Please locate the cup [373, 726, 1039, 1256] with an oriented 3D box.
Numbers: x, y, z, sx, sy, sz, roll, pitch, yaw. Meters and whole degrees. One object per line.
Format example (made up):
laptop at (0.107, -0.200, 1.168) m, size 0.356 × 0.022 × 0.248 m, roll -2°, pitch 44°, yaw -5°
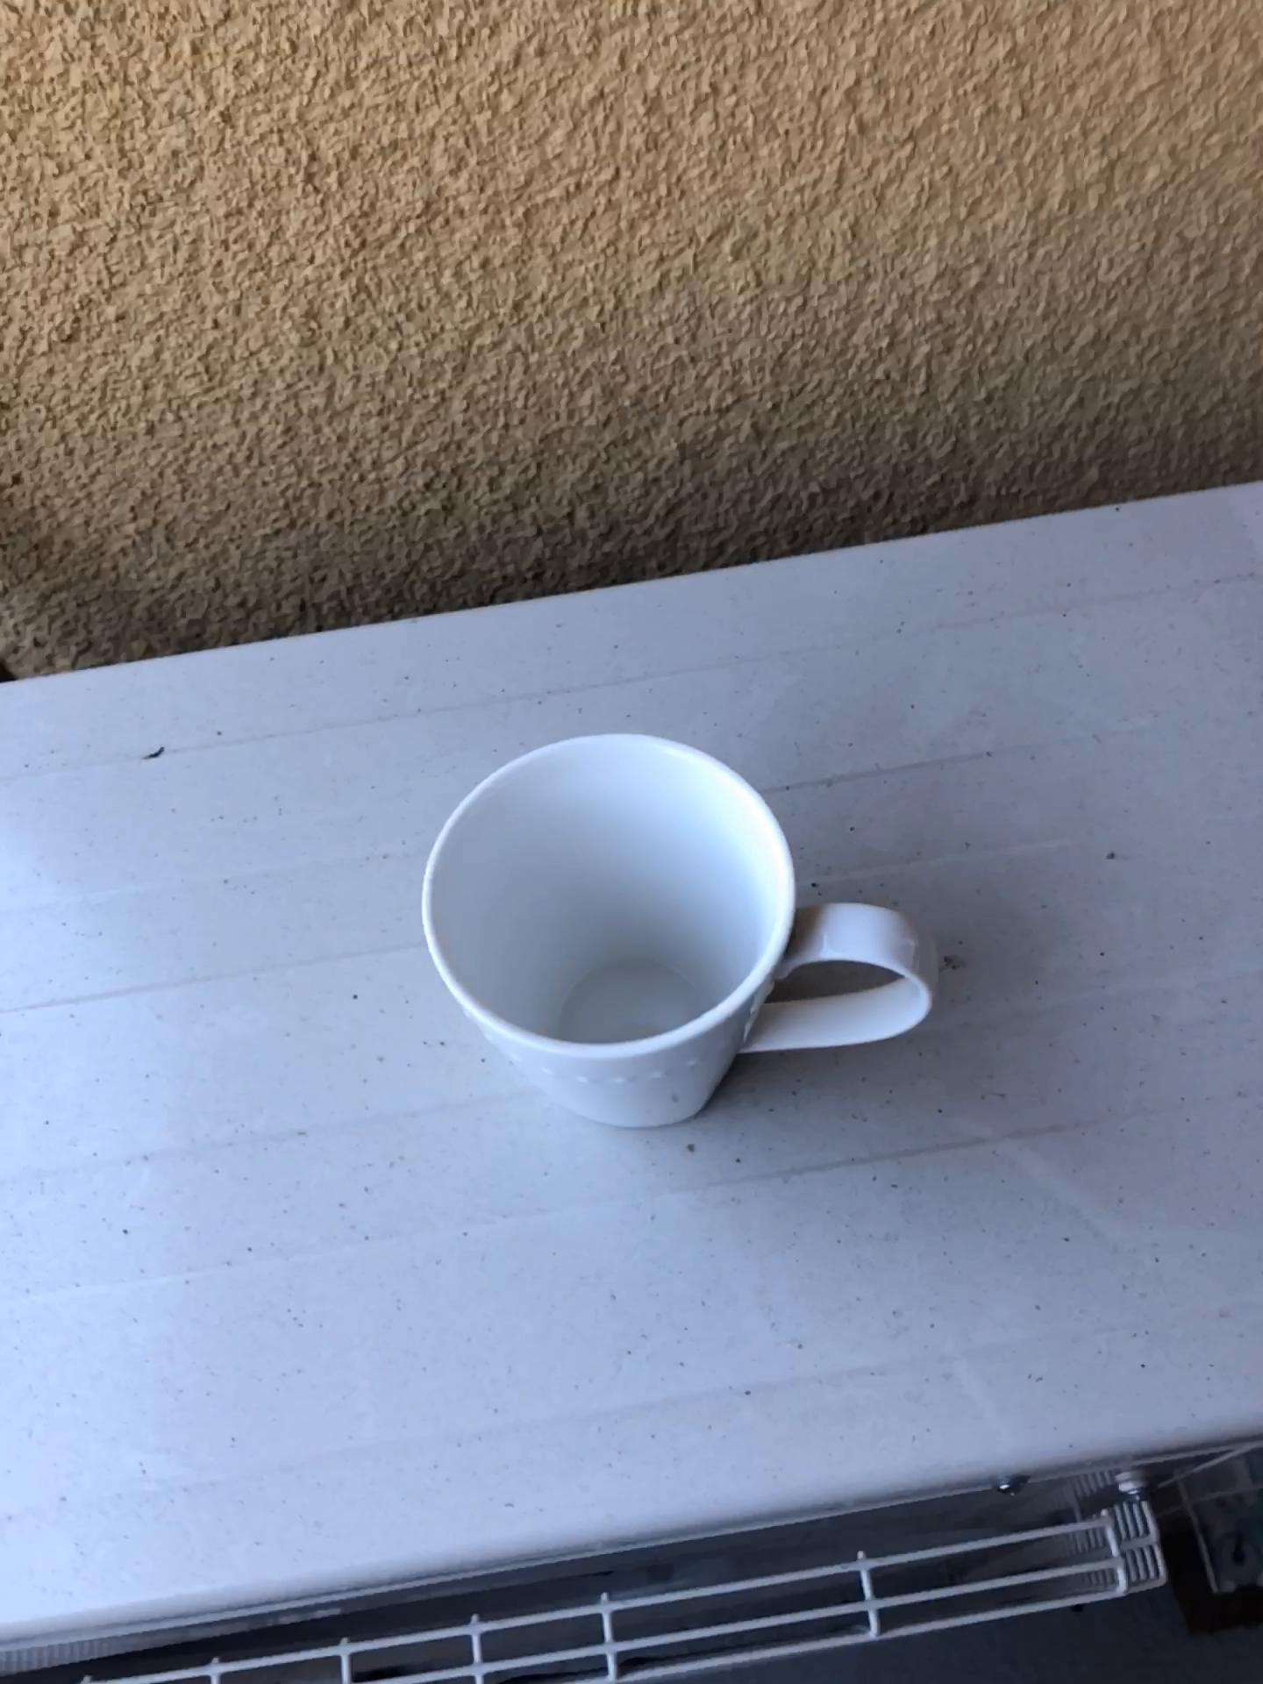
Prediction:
cup at (0.020, 0.041, 0.365) m, size 0.140 × 0.100 × 0.100 m, roll 1°, pitch 59°, yaw 4°
